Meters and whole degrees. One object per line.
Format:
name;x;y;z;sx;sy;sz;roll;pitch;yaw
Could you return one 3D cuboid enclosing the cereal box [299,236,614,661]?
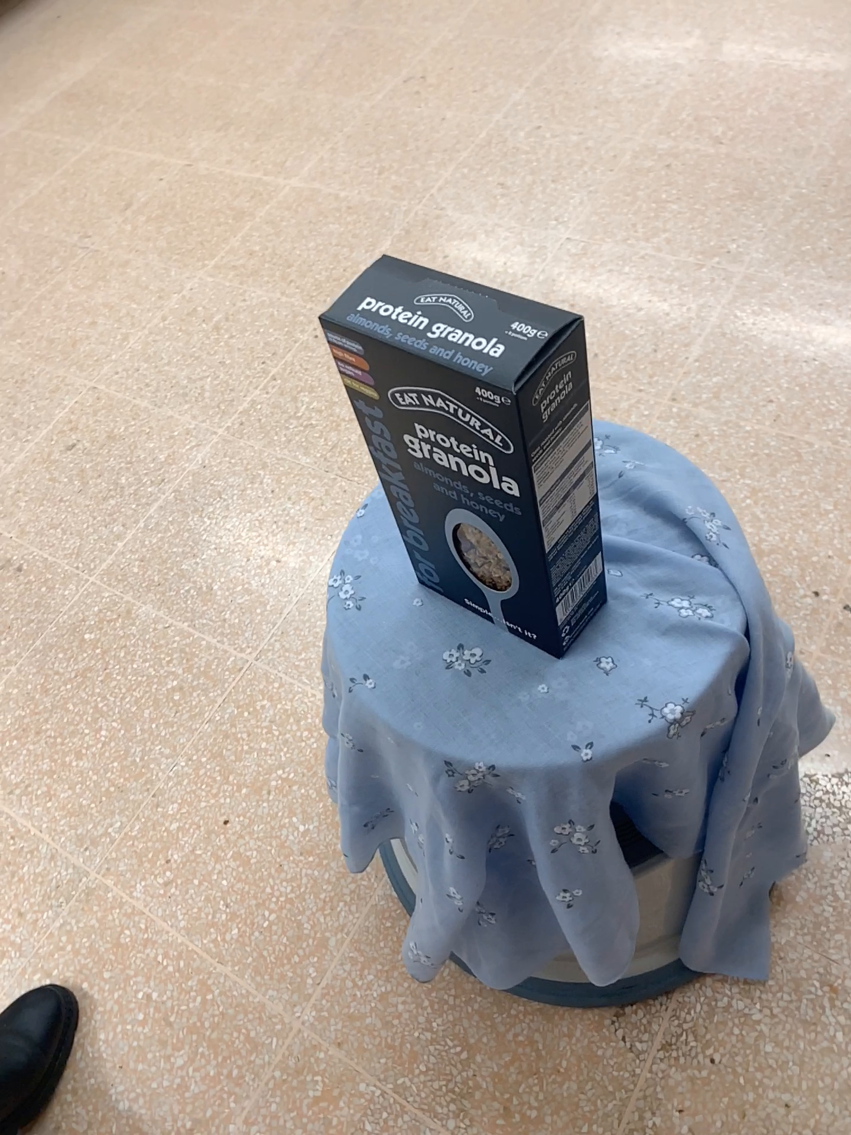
cereal box;0.032;-0.057;0.512;0.131;0.238;0.070;28;67;28
